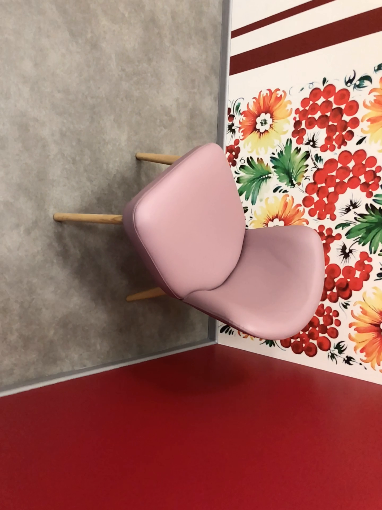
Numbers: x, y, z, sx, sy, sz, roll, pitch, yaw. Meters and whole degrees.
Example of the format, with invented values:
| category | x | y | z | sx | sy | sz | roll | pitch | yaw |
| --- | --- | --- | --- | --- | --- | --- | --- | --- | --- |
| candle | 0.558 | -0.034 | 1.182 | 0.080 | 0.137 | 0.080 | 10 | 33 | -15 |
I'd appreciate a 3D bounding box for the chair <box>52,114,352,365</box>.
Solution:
| category | x | y | z | sx | sy | sz | roll | pitch | yaw |
| --- | --- | --- | --- | --- | --- | --- | --- | --- | --- |
| chair | 0.041 | -0.066 | 1.493 | 0.512 | 0.785 | 0.541 | -48 | 125 | -34 |
